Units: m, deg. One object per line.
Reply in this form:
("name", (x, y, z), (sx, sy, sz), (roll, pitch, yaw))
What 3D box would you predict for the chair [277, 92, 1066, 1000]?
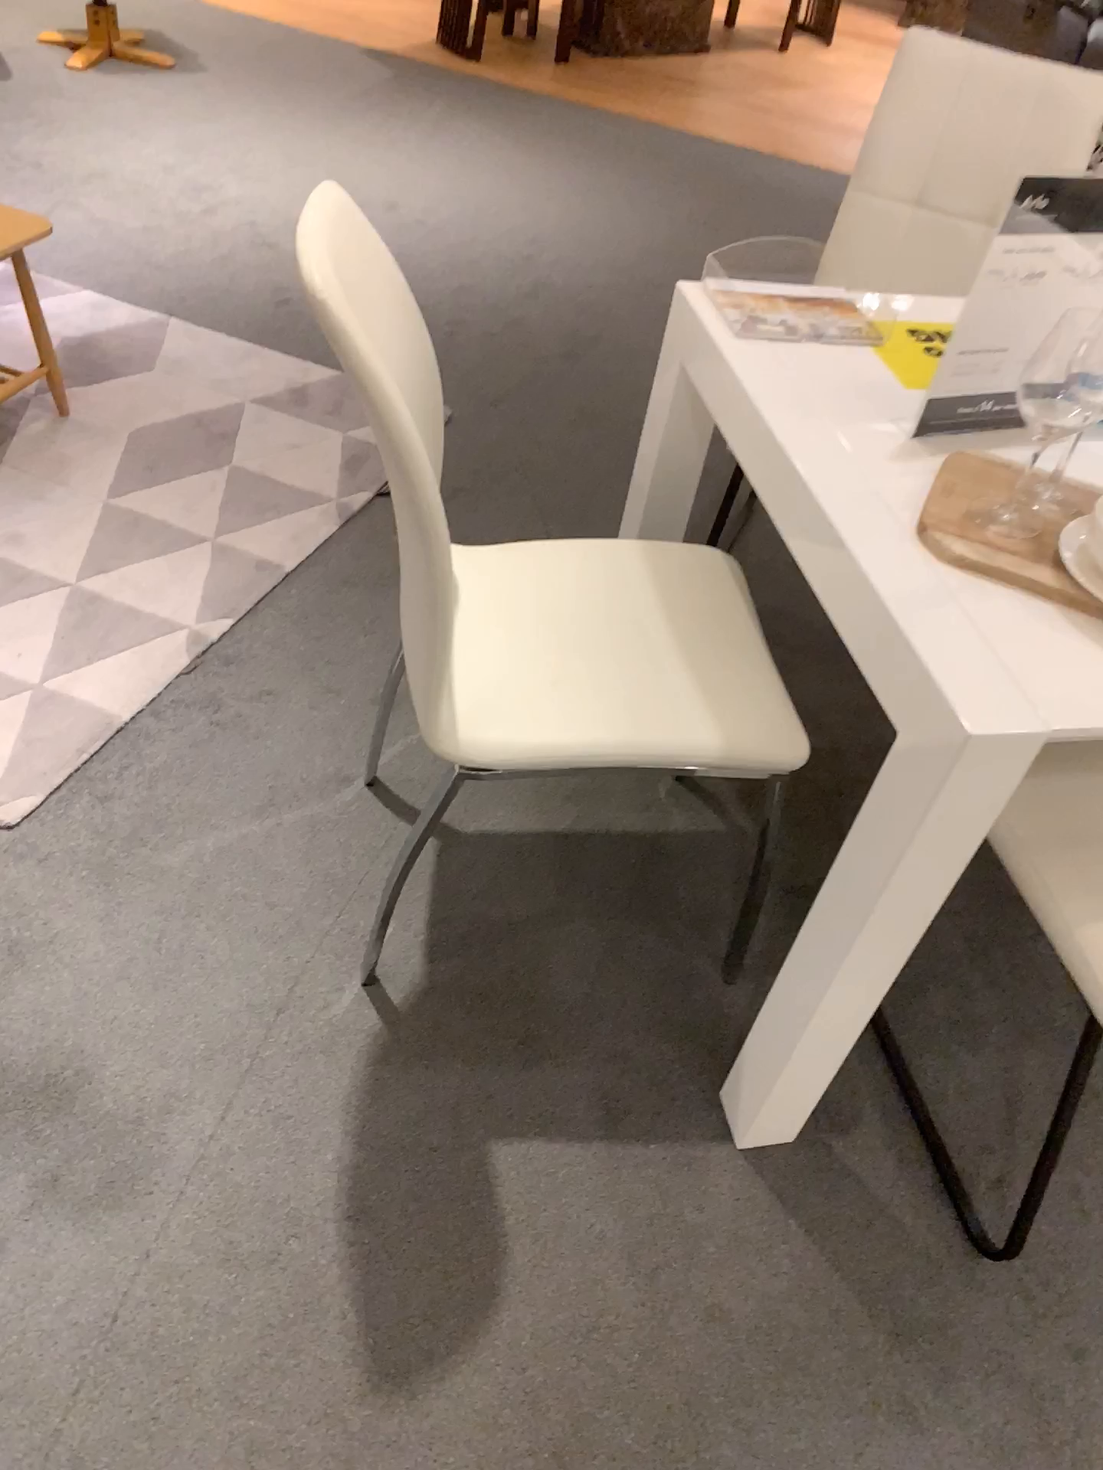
("chair", (0.022, -0.153, 1.384), (0.644, 0.955, 0.483), (1, 44, -10))
